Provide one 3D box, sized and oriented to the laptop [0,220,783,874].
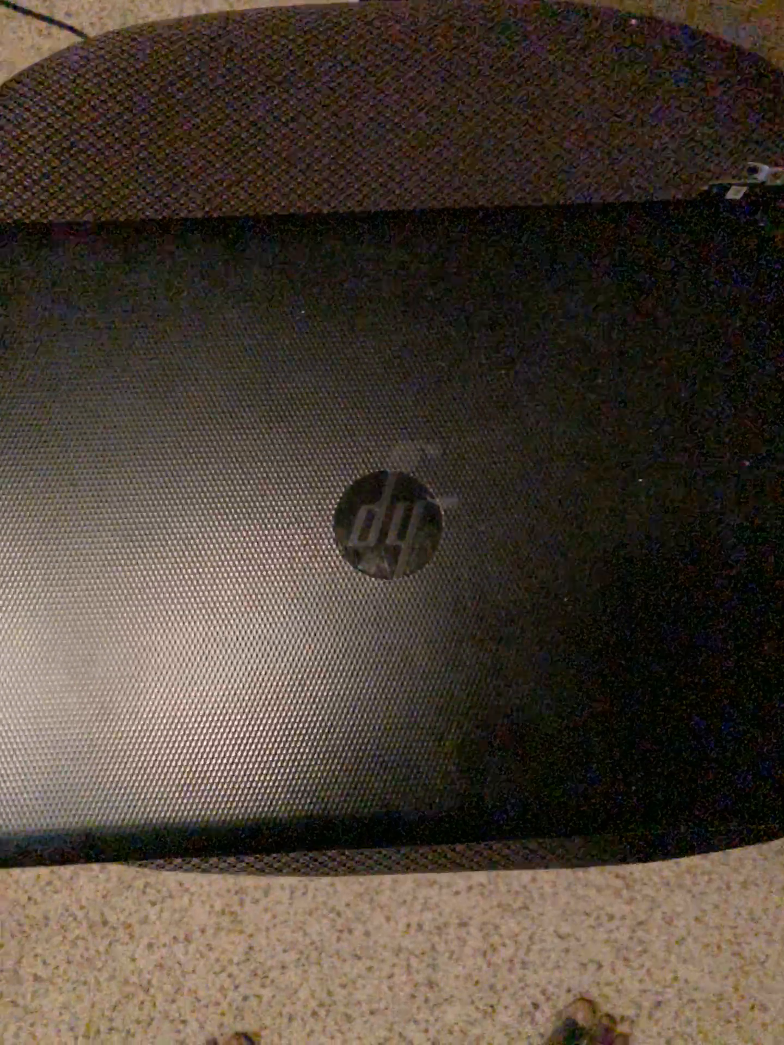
[{"bbox_3d":[0.003,-0.002,0.332,0.378,0.018,0.245,-2,84,-6],"label":"laptop"}]
